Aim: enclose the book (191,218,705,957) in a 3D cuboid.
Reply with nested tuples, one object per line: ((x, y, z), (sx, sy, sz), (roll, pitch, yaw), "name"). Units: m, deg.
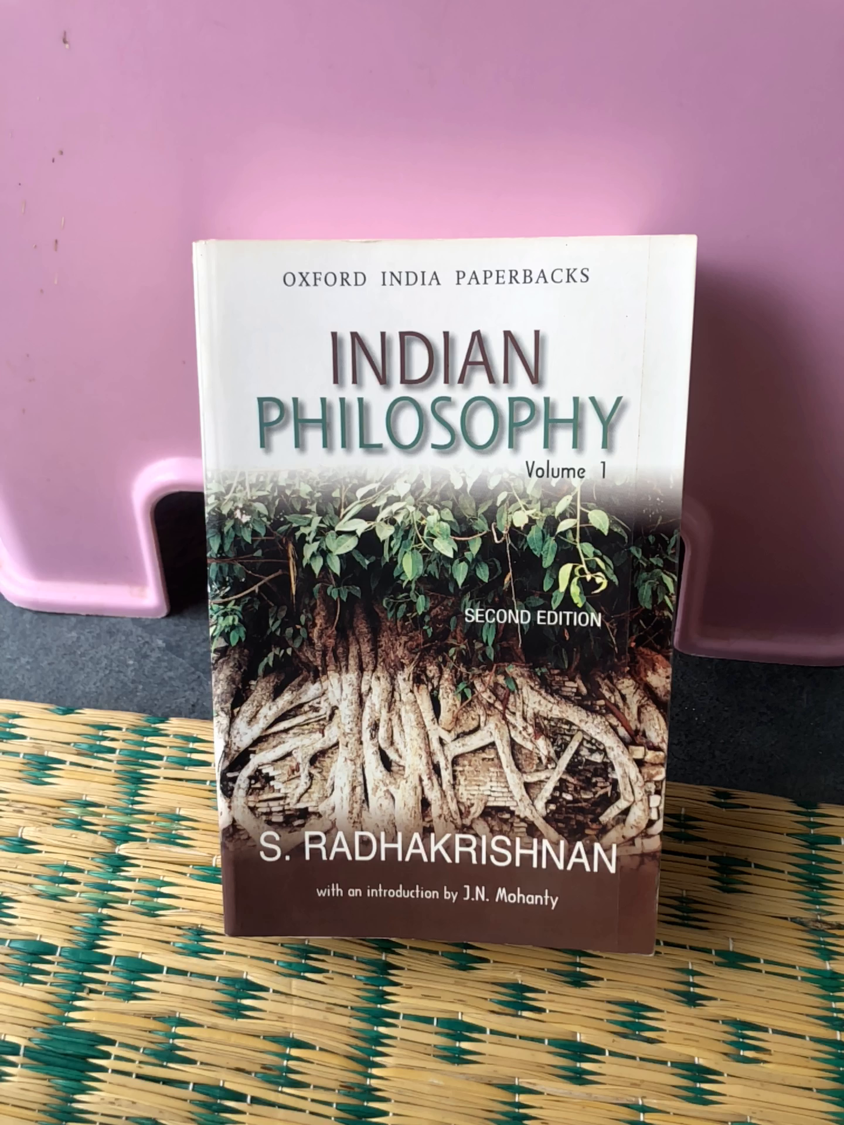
((0.006, 0.007, 0.303), (0.140, 0.210, 0.070), (1, 7, 2), "book")
